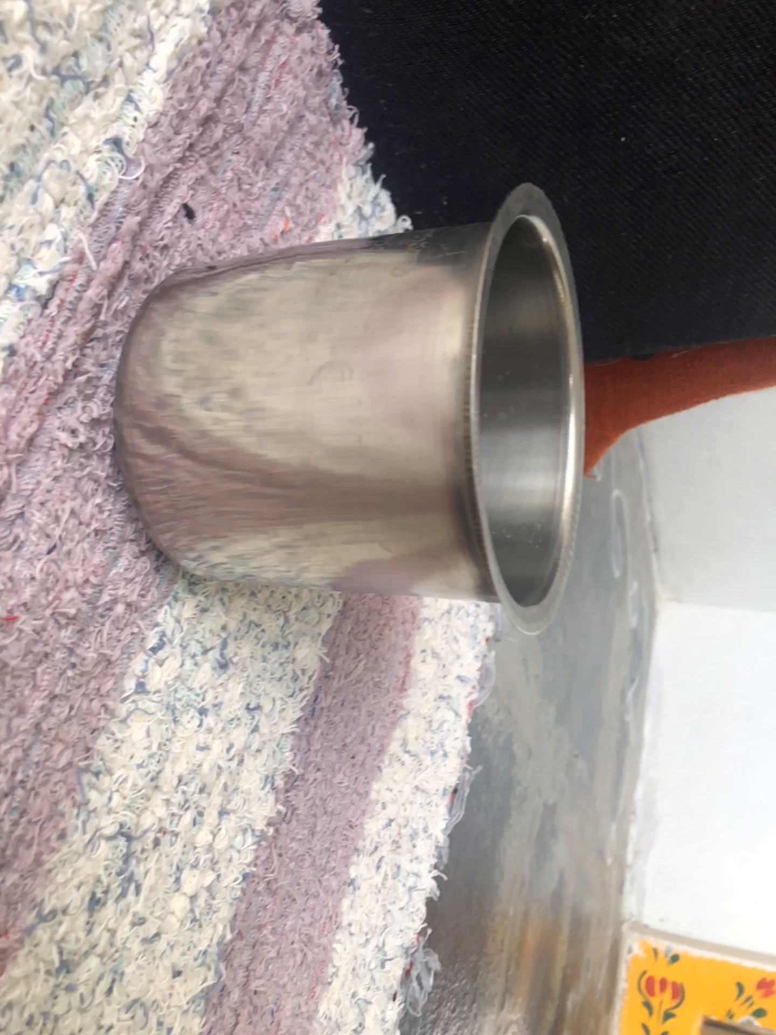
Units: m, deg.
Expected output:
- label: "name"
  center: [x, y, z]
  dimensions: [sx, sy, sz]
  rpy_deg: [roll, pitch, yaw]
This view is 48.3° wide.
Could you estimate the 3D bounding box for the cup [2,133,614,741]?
- label: "cup"
  center: [-0.004, -0.020, 0.221]
  dimensions: [0.100, 0.099, 0.100]
  rpy_deg: [3, 90, -68]
